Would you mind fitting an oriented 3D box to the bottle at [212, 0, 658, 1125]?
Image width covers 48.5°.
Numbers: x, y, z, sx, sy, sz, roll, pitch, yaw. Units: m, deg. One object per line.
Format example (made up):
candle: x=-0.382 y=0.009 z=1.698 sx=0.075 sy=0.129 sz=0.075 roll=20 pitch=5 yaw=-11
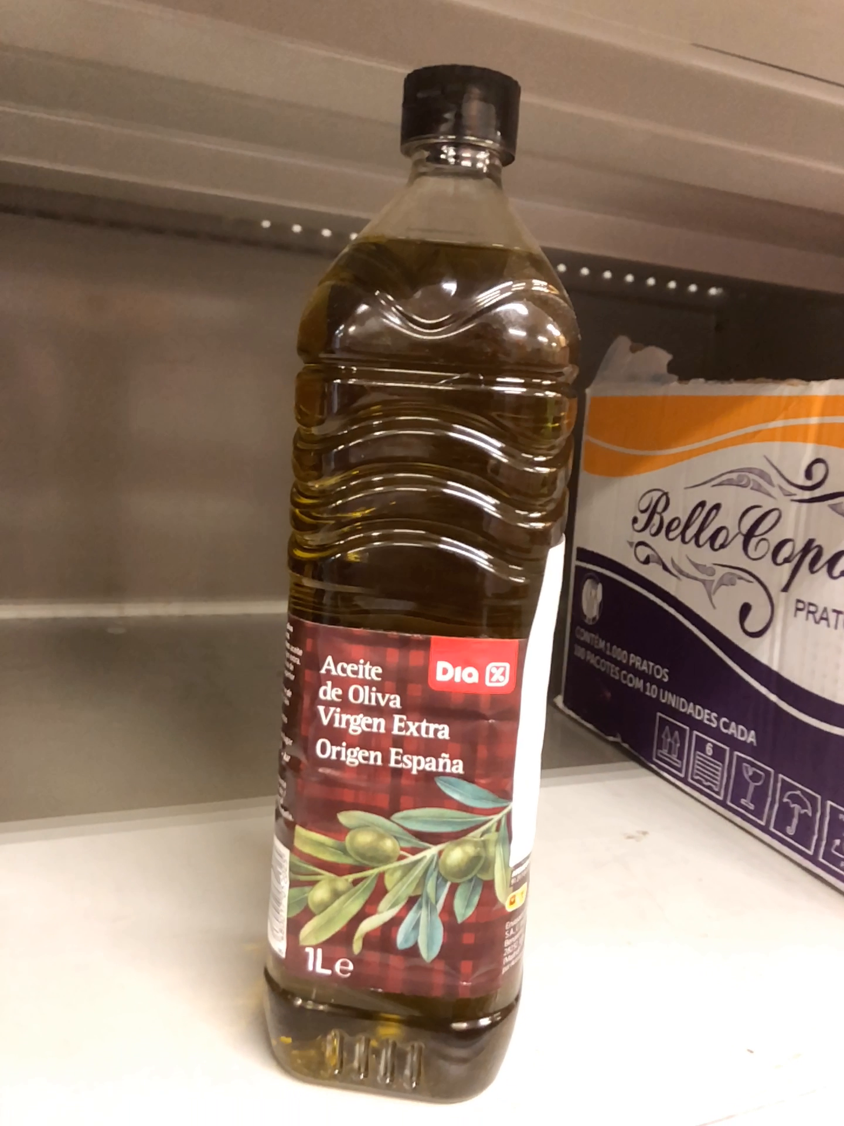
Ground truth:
bottle: x=0.000 y=0.004 z=0.262 sx=0.080 sy=0.279 sz=0.070 roll=6 pitch=9 yaw=3
